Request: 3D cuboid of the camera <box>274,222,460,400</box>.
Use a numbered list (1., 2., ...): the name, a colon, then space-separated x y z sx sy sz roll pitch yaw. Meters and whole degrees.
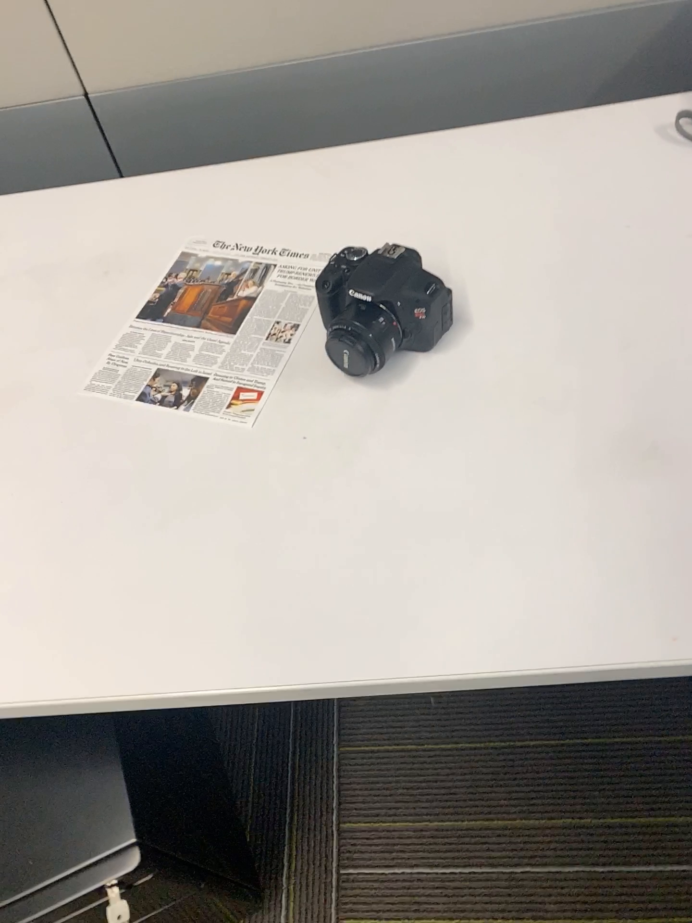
1. camera: 0.026 -0.155 0.716 0.136 0.090 0.119 23 61 25
